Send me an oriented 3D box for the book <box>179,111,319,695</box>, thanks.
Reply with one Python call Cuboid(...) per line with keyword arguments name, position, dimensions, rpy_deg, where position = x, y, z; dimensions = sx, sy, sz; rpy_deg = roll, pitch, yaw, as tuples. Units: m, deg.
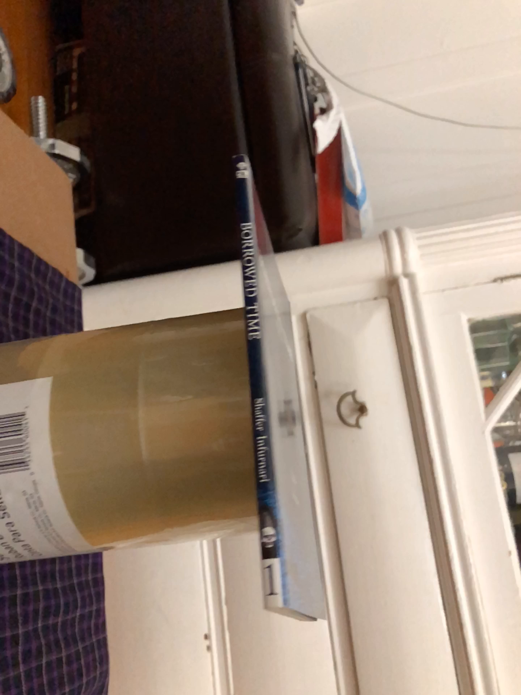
Cuboid(name="book", position=(-0.004, 0.033, 0.272), dimensions=(0.160, 0.010, 0.230), rpy_deg=(68, 12, -60))
